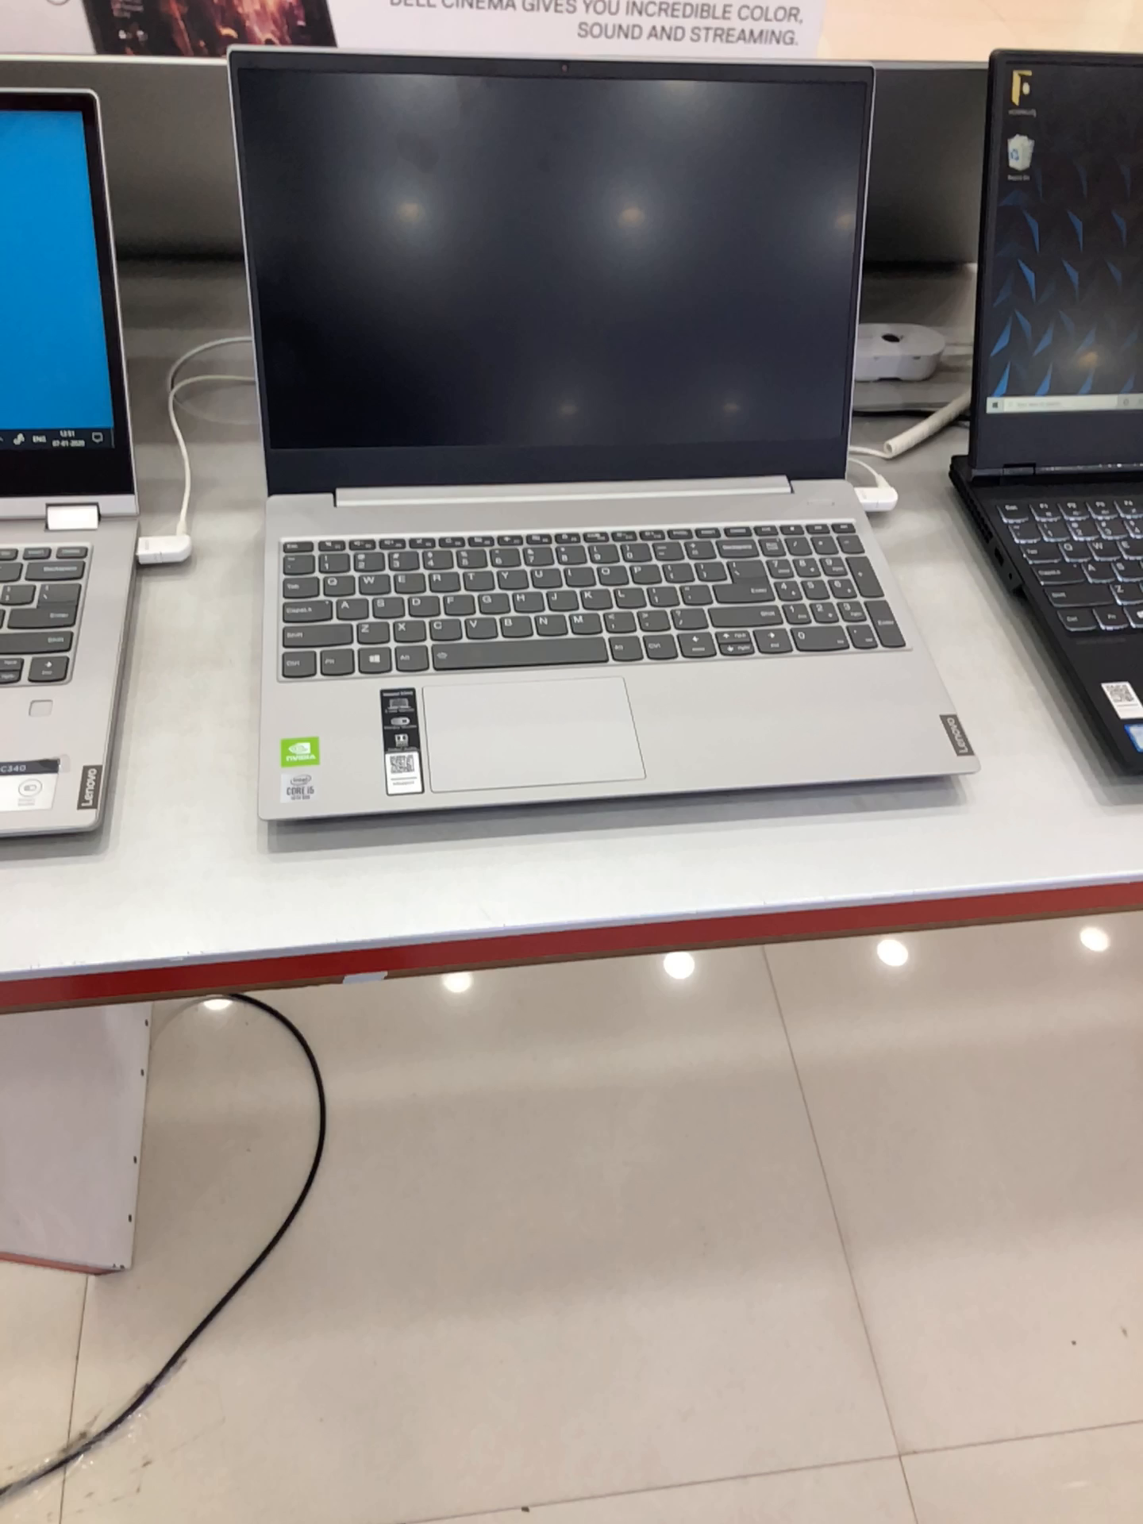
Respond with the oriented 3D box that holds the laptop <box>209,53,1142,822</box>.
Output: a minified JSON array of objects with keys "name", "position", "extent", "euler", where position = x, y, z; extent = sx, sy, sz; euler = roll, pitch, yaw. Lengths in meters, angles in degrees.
[{"name":"laptop","position":[0.015,-0.181,0.631],"extent":[0.342,0.196,0.346],"euler":[-4,49,-9]}]
